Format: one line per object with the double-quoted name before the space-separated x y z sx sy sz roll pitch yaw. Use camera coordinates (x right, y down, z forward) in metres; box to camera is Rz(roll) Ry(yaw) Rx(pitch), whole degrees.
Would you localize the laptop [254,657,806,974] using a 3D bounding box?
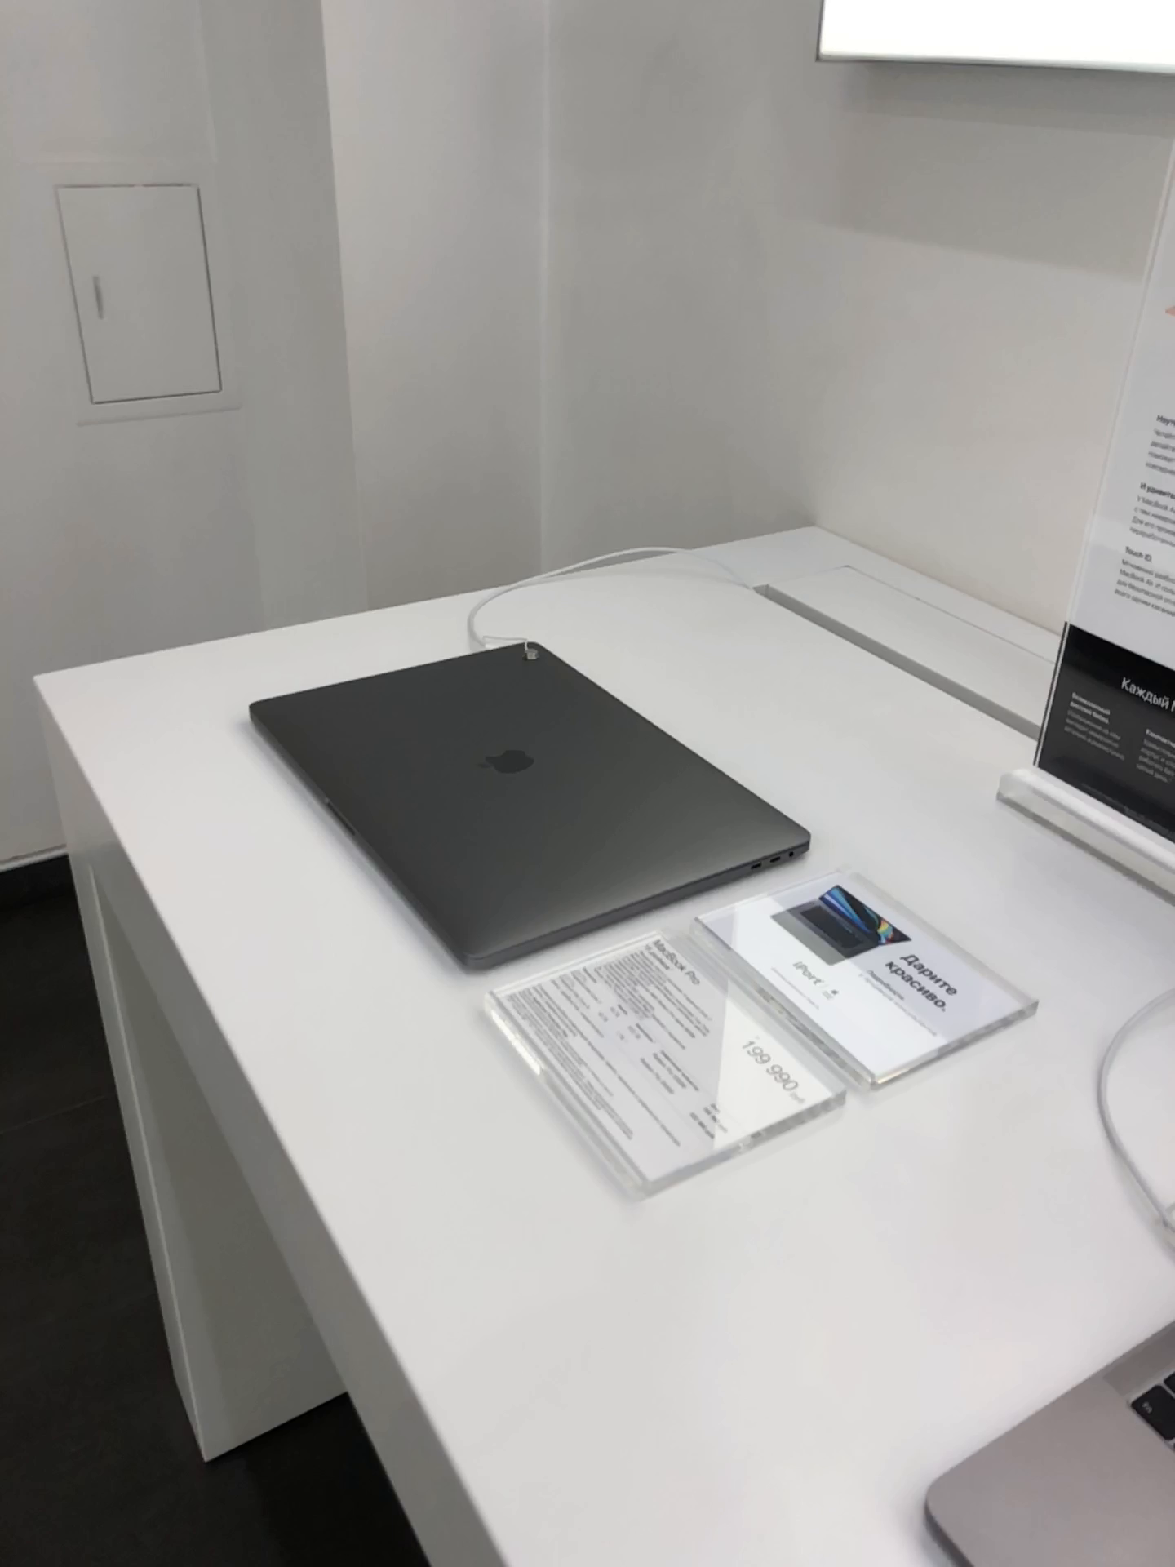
"laptop" -0.055 -0.001 0.866 0.231 0.003 0.346 -17 33 -28
